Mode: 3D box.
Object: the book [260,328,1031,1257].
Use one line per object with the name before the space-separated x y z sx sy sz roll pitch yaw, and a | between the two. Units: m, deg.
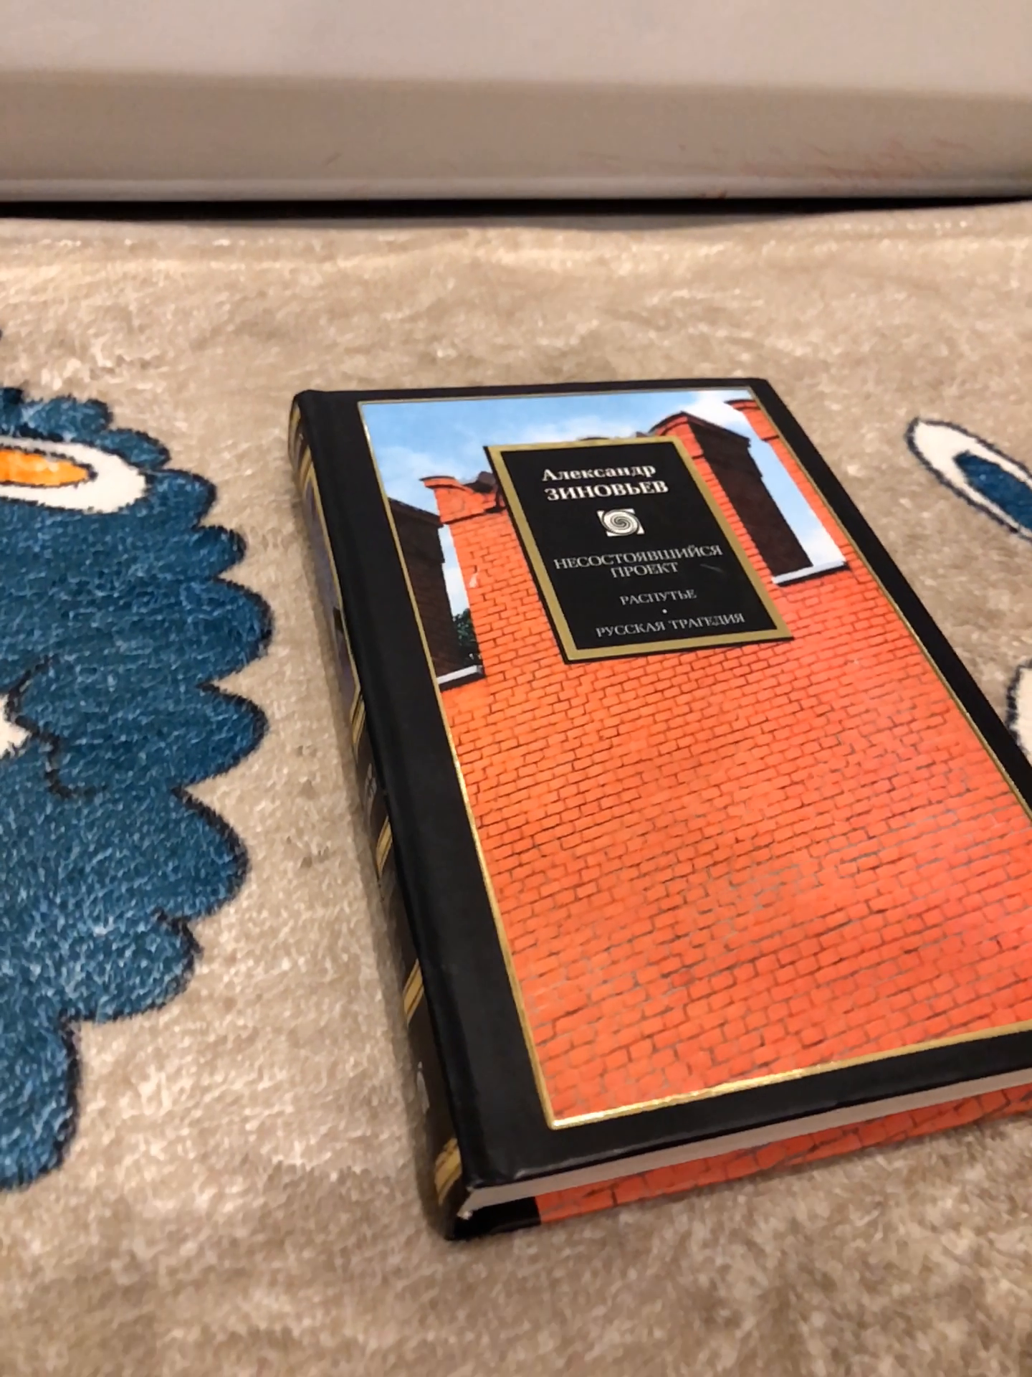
book | 0.025 -0.006 0.254 0.140 0.040 0.211 -5 48 -14
